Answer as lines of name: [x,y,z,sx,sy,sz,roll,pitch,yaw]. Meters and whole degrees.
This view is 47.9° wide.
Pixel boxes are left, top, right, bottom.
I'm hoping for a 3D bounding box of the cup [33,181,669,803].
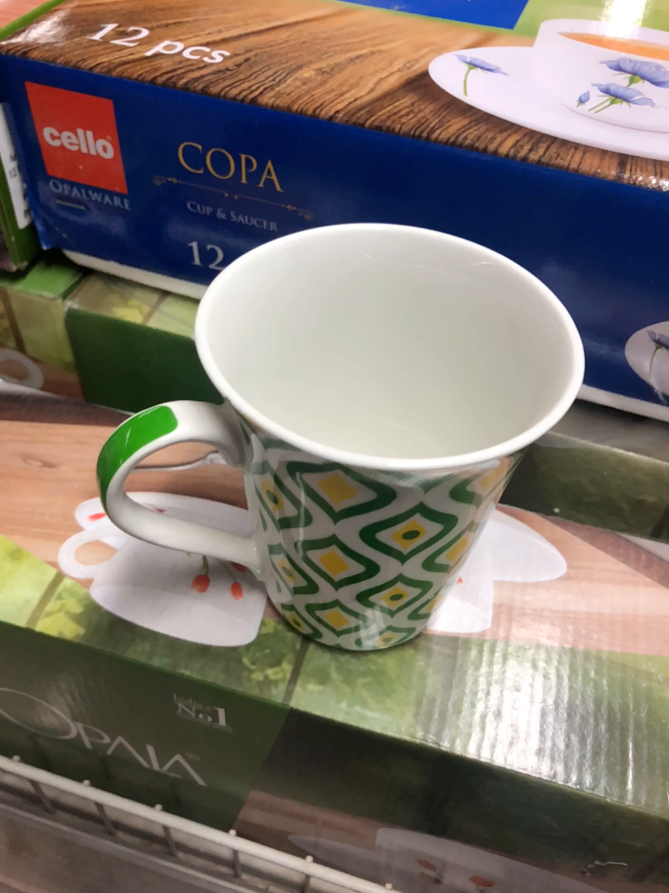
cup: [0.005,0.012,0.198,0.120,0.109,0.080,-19,53,-18]
